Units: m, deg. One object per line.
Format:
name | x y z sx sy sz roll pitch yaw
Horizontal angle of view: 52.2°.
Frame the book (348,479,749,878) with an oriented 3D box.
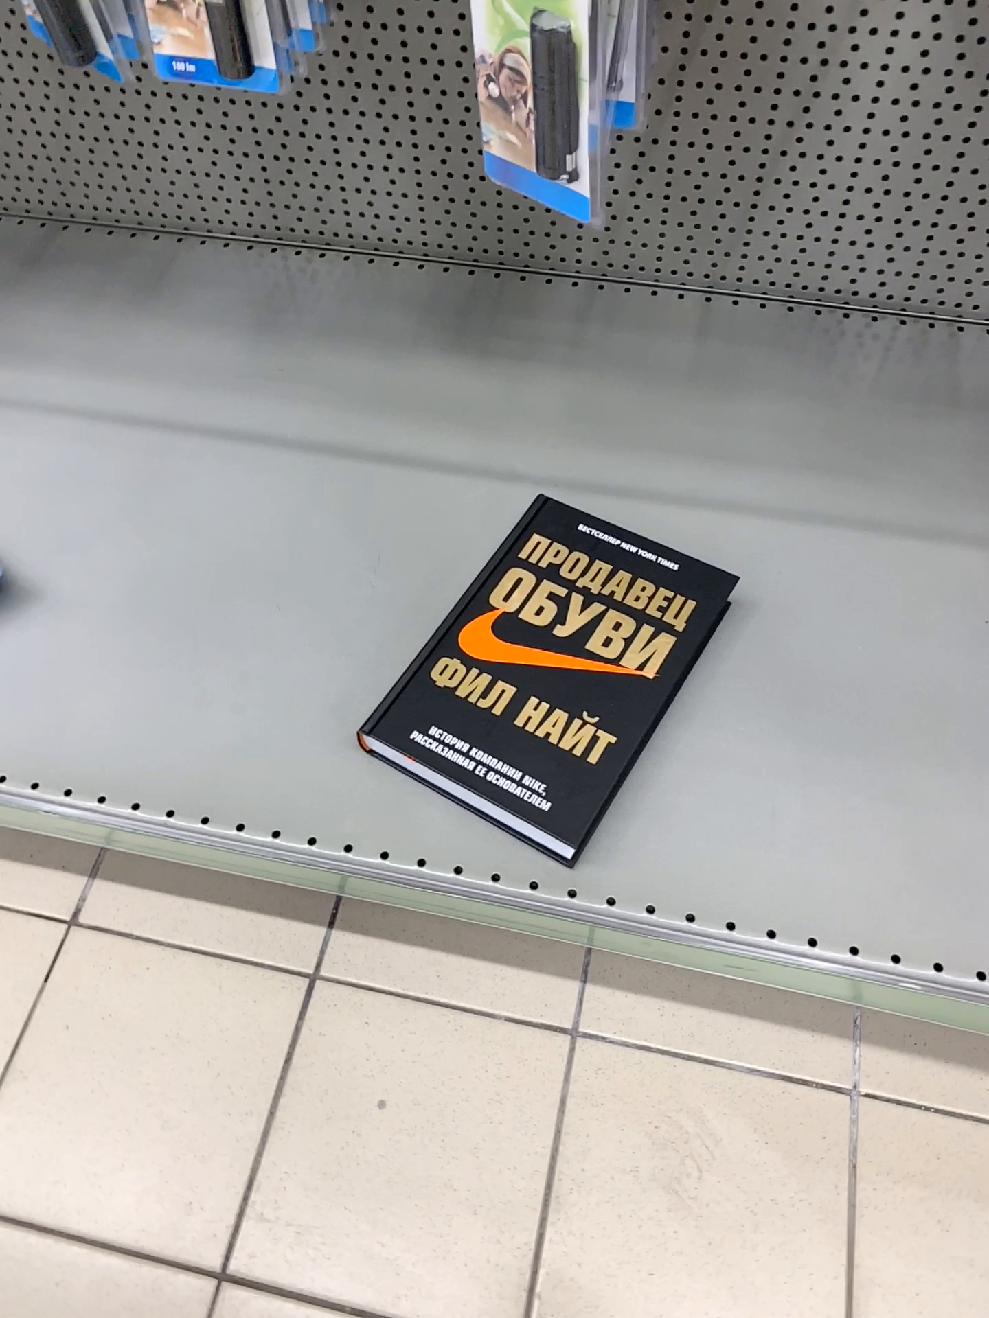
book | 0.043 0.001 0.707 0.170 0.042 0.250 27 62 18
